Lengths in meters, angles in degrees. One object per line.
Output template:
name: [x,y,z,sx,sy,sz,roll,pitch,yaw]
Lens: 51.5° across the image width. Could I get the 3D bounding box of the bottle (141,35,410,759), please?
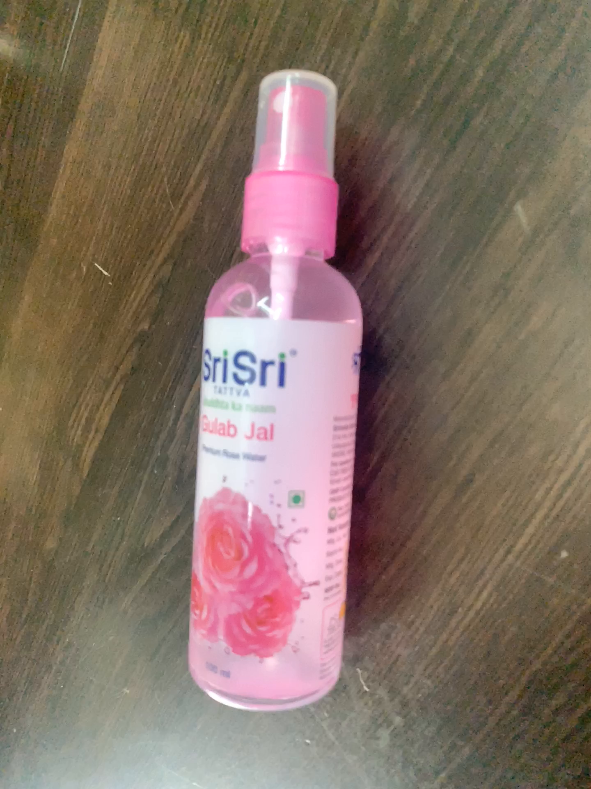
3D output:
bottle: [-0.006,0.002,0.146,0.040,0.040,0.140,8,97,43]
